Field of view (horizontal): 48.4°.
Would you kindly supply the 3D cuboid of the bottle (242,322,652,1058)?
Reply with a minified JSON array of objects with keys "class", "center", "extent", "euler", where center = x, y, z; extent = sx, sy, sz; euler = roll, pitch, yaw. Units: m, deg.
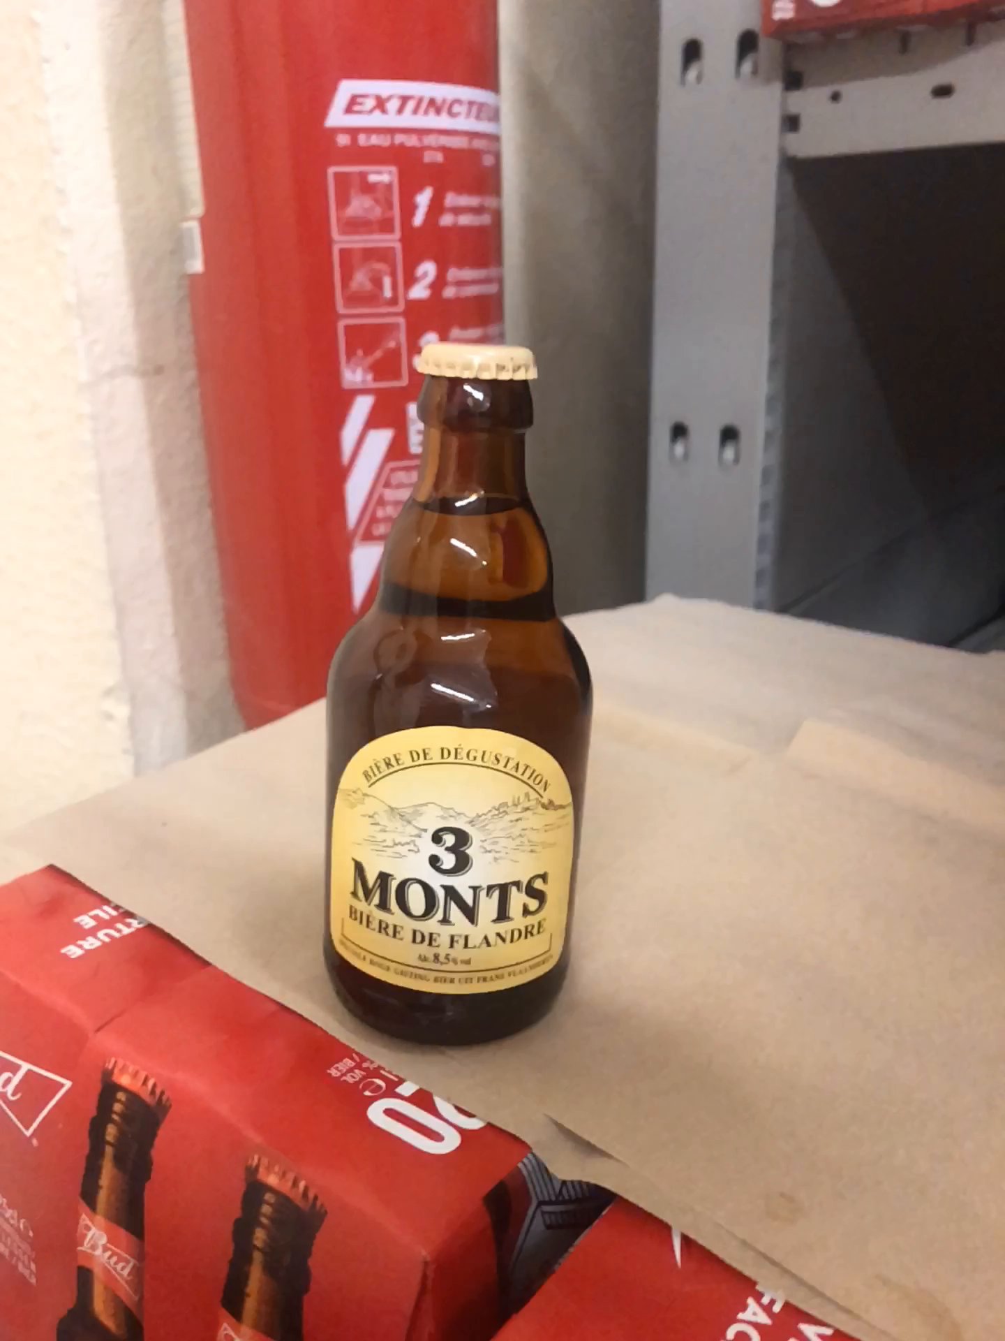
[{"class":"bottle","center":[-0.013,0.001,0.281],"extent":[0.080,0.166,0.080],"euler":[1,18,0]}]
